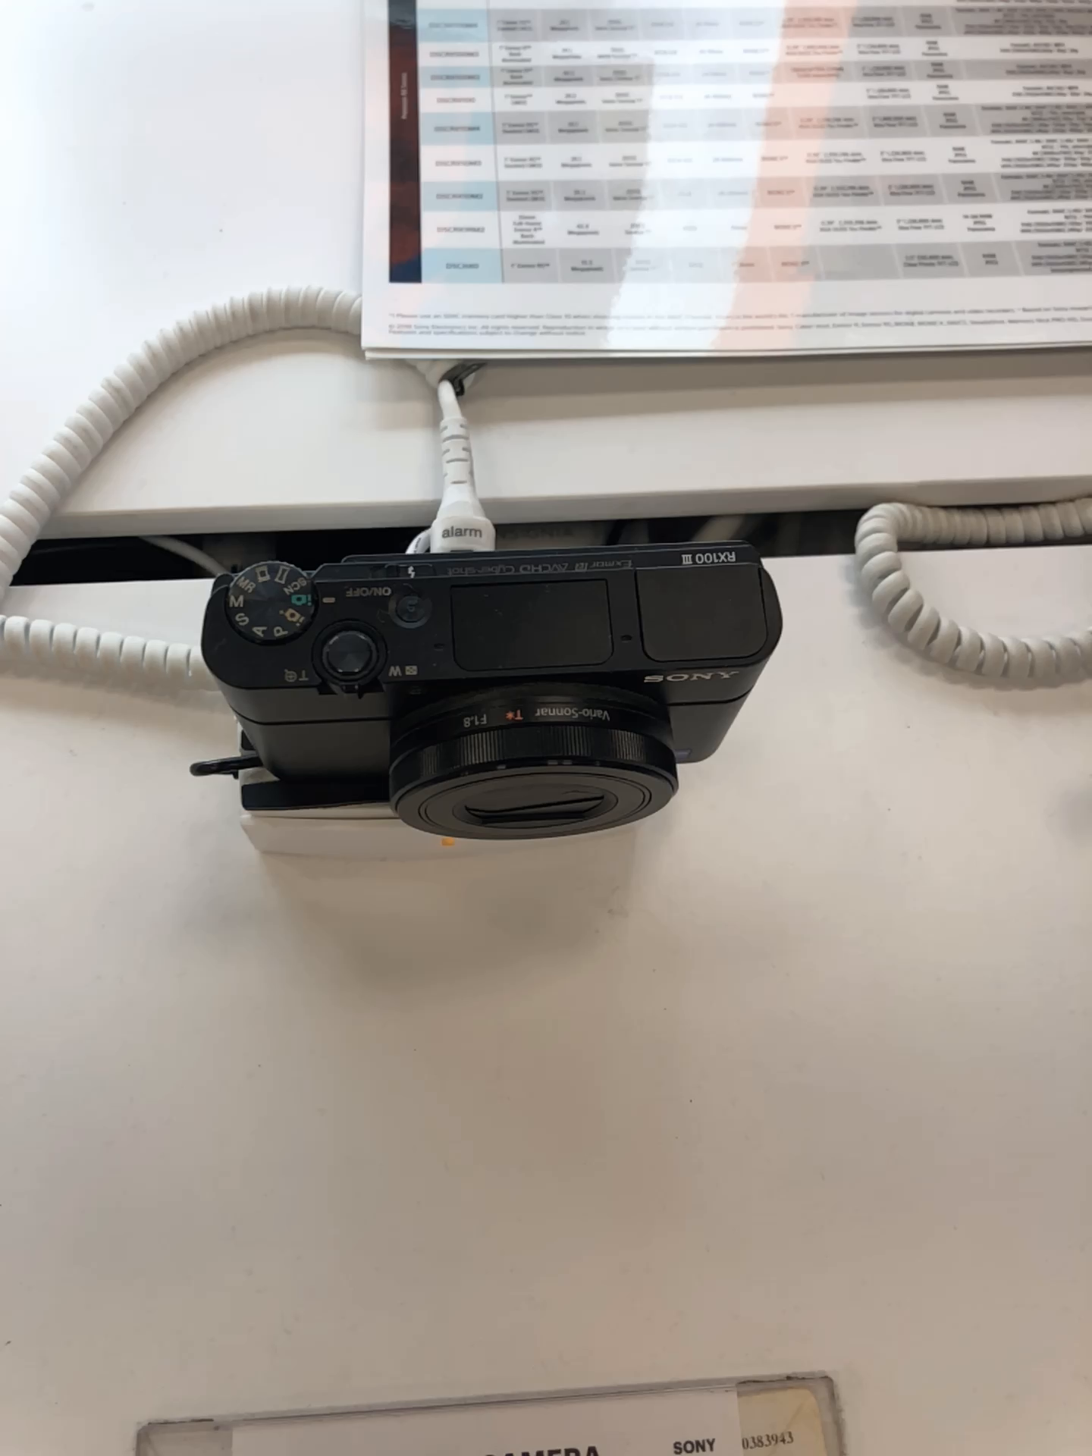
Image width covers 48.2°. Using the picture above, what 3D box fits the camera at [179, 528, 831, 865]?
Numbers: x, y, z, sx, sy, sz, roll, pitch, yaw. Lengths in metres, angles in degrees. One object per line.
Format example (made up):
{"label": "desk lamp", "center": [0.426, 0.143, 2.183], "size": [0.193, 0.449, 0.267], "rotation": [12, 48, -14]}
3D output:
{"label": "camera", "center": [-0.009, -0.004, 0.241], "size": [0.110, 0.060, 0.040], "rotation": [-3, 69, -3]}
